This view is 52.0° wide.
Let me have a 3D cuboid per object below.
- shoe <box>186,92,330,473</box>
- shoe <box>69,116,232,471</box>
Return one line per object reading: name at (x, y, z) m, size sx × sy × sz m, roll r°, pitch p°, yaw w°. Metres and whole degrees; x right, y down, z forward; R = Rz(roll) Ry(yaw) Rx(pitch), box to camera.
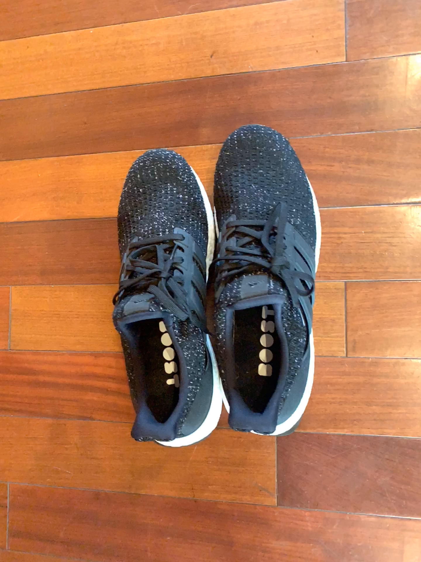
shoe at (0.046, 0.001, 0.389) m, size 0.110 × 0.100 × 0.290 m, roll 0°, pitch 87°, yaw 12°
shoe at (-0.054, 0.014, 0.425) m, size 0.110 × 0.100 × 0.300 m, roll -6°, pitch 86°, yaw 12°
